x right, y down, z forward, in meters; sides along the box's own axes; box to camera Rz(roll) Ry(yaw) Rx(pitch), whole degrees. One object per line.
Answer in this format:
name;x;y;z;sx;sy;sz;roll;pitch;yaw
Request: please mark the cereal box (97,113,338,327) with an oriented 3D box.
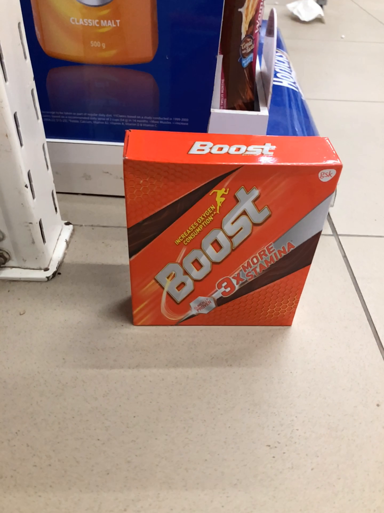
cereal box;0.012;-0.022;0.357;0.160;0.179;0.050;-1;41;-7
